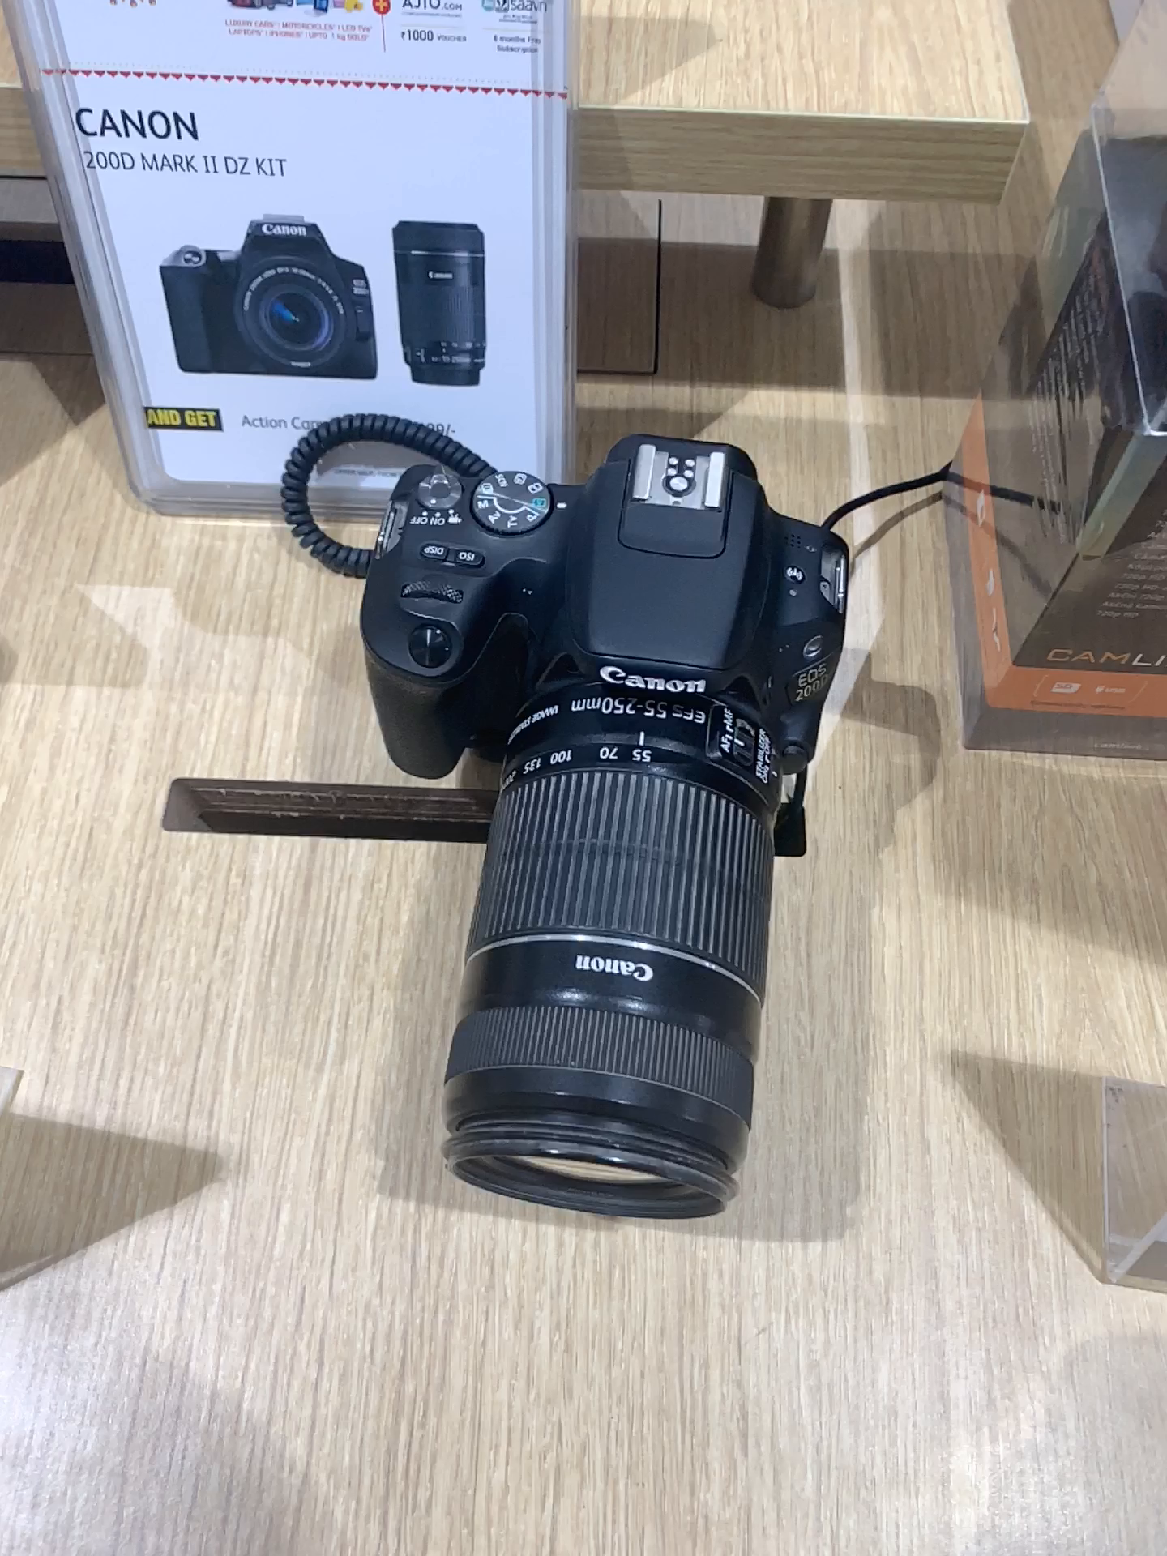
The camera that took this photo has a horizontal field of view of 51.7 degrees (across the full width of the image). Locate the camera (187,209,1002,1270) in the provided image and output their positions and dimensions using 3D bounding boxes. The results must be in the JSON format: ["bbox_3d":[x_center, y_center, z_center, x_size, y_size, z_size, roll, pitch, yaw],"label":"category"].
[{"bbox_3d":[0.012,-0.010,0.266,0.120,0.100,0.200,6,63,3],"label":"camera"}]
